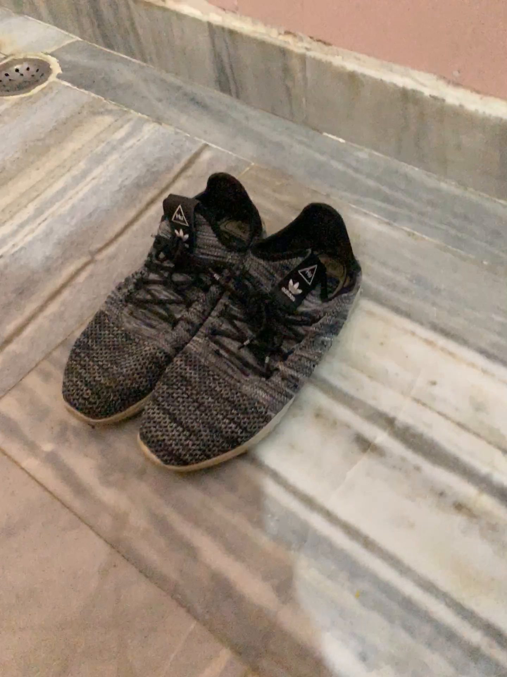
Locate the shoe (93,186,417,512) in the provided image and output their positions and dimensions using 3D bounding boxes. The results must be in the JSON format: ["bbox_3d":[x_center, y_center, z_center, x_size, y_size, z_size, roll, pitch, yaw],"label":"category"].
[{"bbox_3d":[0.014,-0.005,0.486,0.120,0.080,0.299,34,65,23],"label":"shoe"}]

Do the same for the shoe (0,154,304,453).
[{"bbox_3d":[-0.083,-0.050,0.521,0.120,0.080,0.299,31,64,21],"label":"shoe"}]
